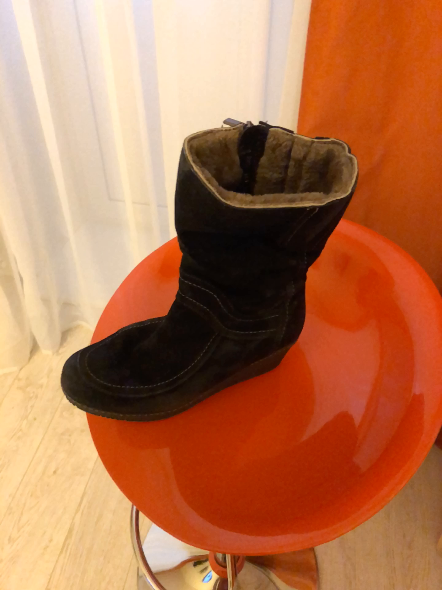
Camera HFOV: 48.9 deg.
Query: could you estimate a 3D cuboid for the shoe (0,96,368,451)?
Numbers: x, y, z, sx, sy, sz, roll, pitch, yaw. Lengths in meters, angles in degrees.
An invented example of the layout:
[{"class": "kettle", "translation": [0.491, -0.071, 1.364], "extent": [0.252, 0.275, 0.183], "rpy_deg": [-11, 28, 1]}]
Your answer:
[{"class": "shoe", "translation": [-0.032, -0.015, 0.434], "extent": [0.260, 0.248, 0.101], "rpy_deg": [-17, 46, -17]}]
